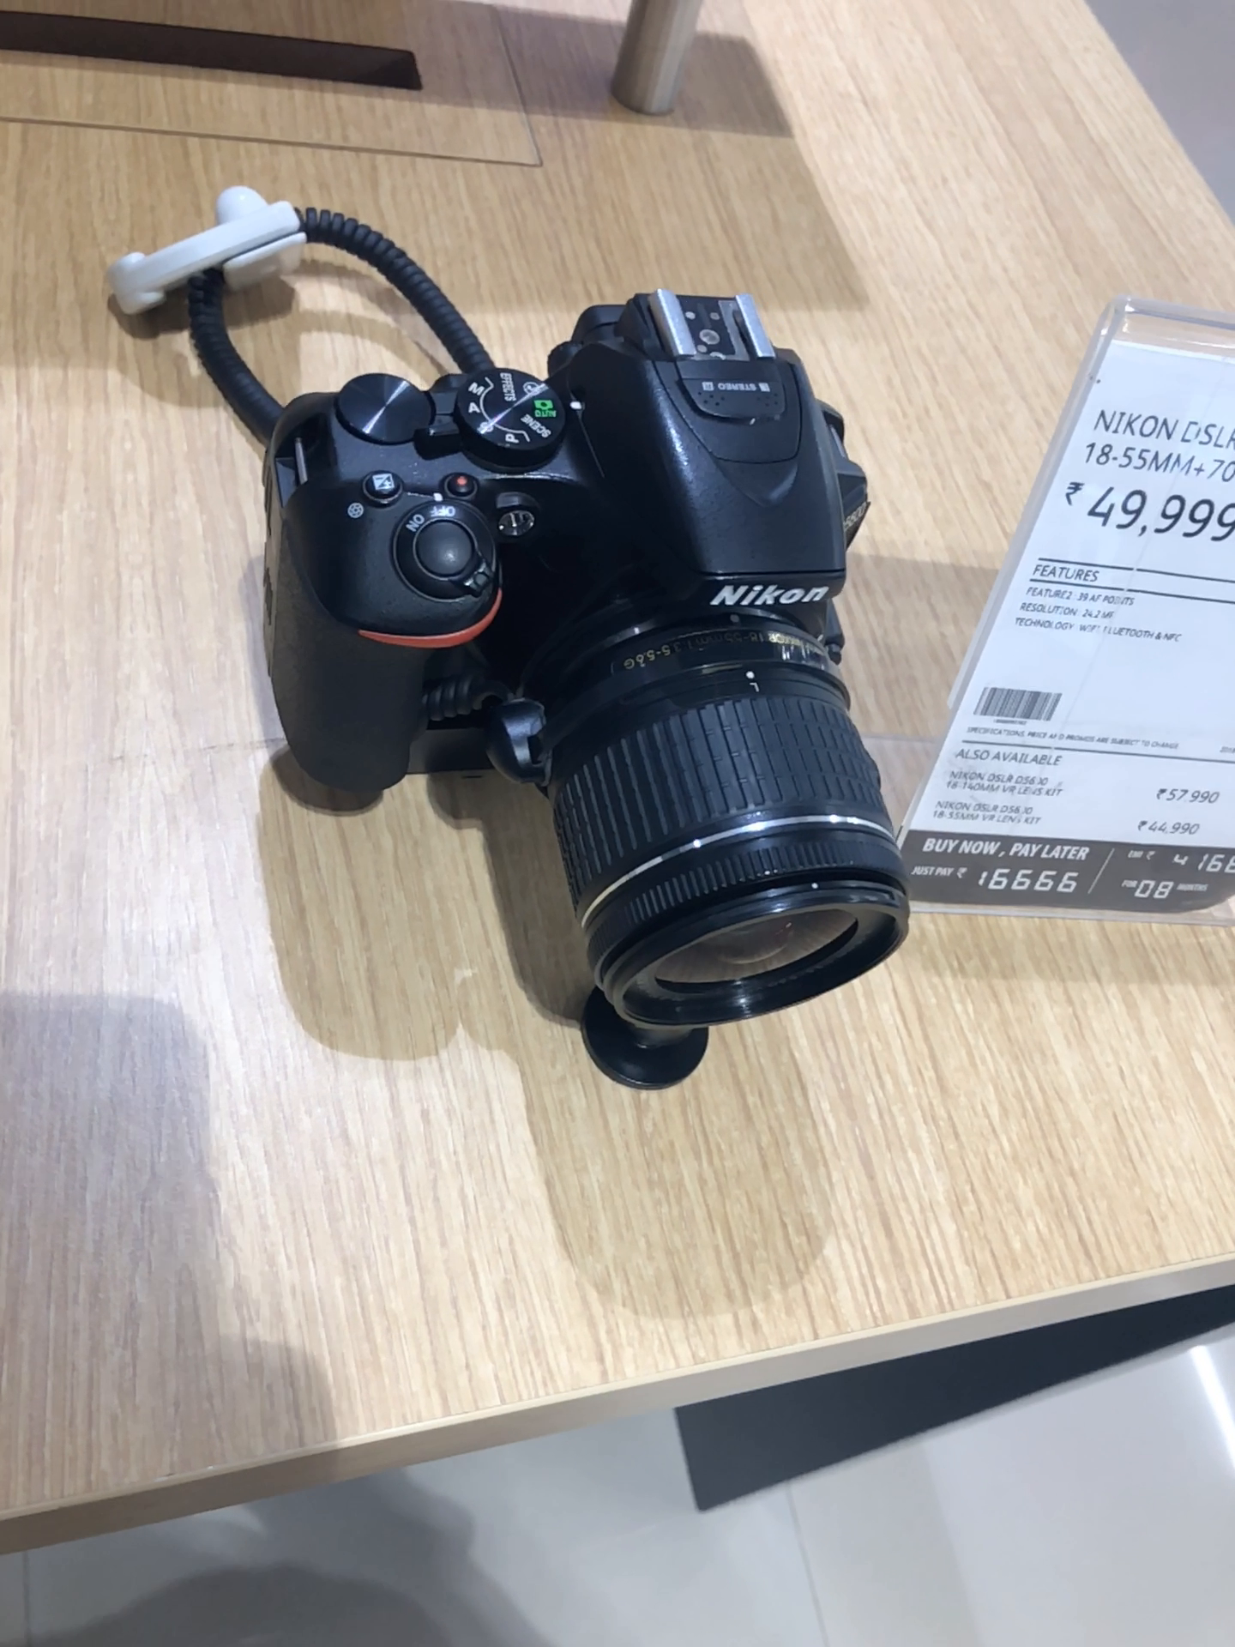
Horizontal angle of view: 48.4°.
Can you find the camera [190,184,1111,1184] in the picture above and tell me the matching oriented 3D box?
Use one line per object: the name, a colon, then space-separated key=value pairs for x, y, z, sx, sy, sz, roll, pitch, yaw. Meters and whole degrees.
camera: x=-0.012 y=-0.031 z=0.281 sx=0.130 sy=0.099 sz=0.160 roll=-5 pitch=60 yaw=-19
